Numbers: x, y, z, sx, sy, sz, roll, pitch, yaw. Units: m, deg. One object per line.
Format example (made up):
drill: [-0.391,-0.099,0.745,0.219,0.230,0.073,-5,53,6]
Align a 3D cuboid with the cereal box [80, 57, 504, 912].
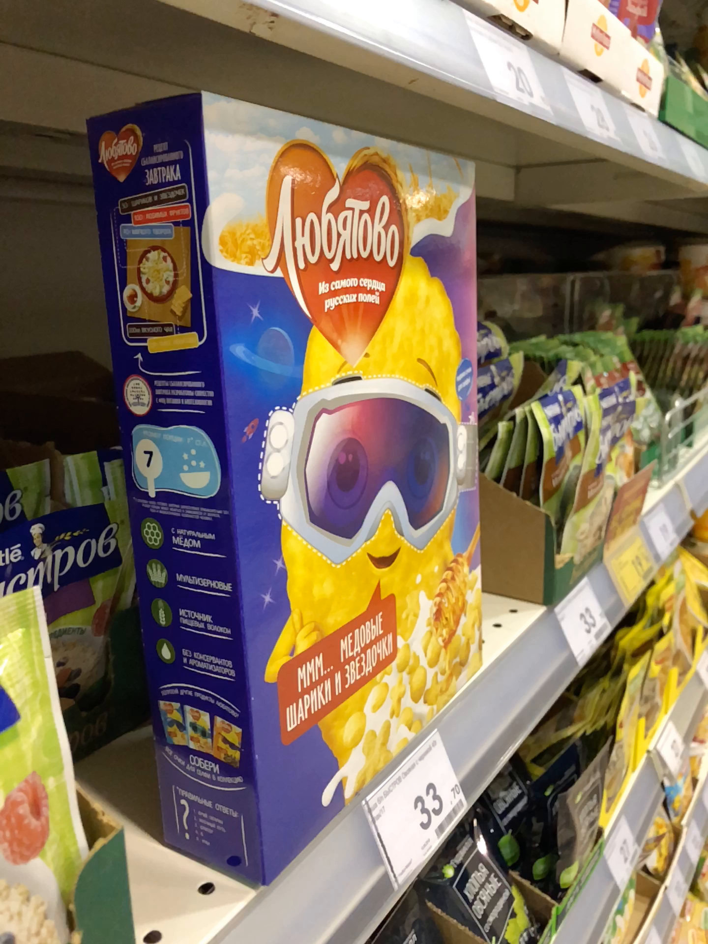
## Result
cereal box: [0.000,-0.005,0.326,0.050,0.259,0.201,5,15,32]
